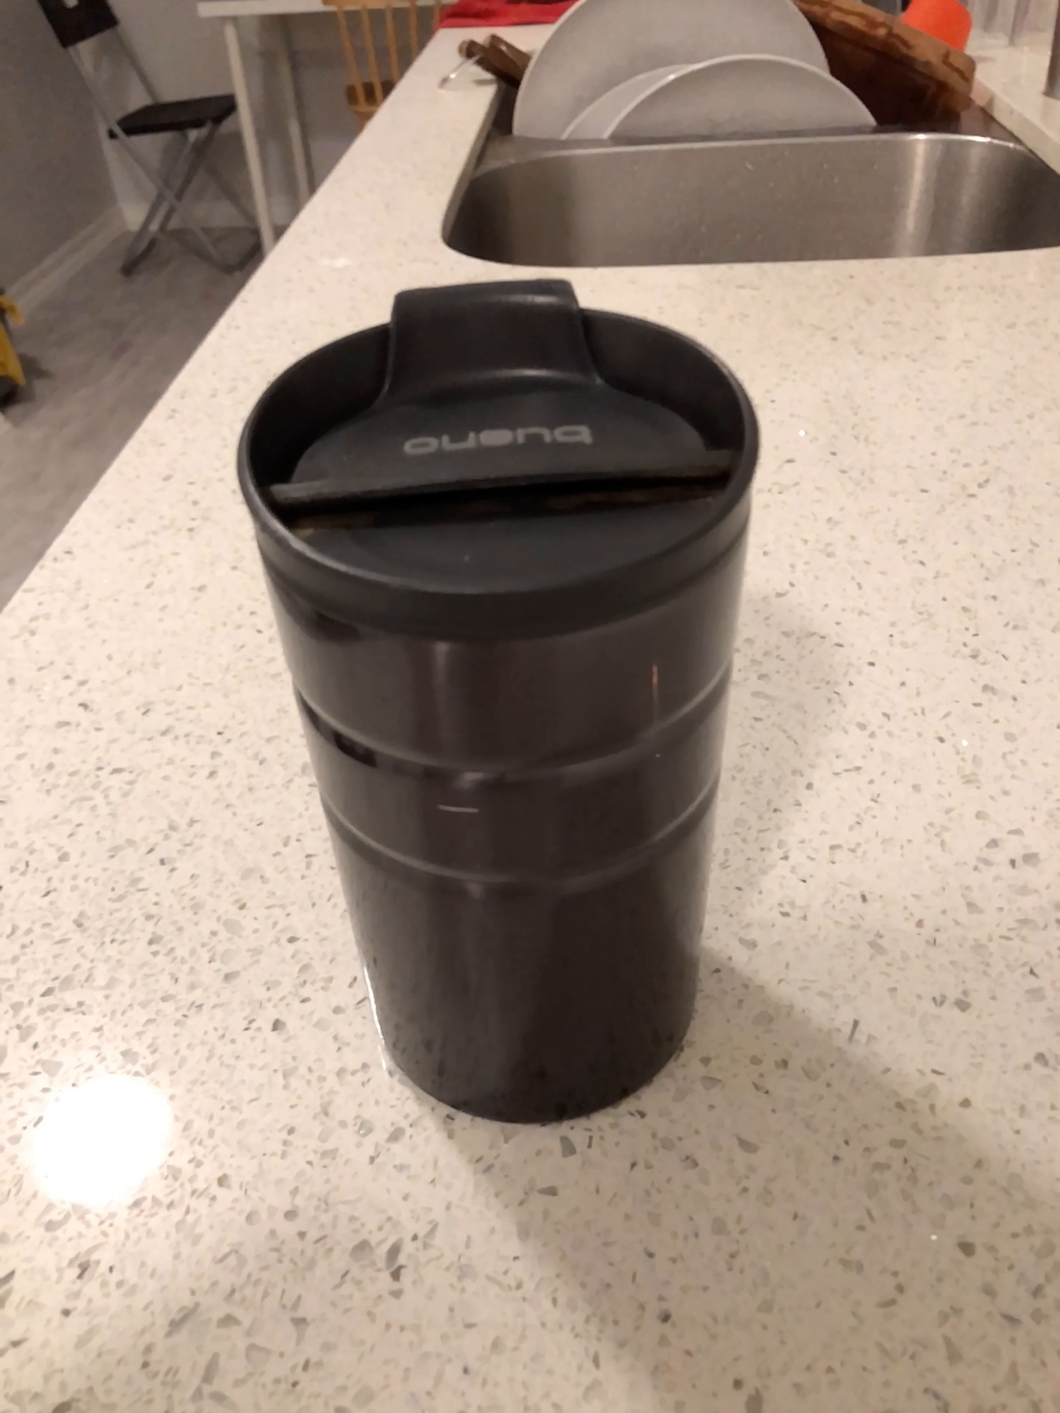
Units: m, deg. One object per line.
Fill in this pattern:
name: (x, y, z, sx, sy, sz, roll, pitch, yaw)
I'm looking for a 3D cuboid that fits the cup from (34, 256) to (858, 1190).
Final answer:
cup: (-0.005, -0.002, 0.202, 0.087, 0.116, 0.085, -3, 37, 2)
